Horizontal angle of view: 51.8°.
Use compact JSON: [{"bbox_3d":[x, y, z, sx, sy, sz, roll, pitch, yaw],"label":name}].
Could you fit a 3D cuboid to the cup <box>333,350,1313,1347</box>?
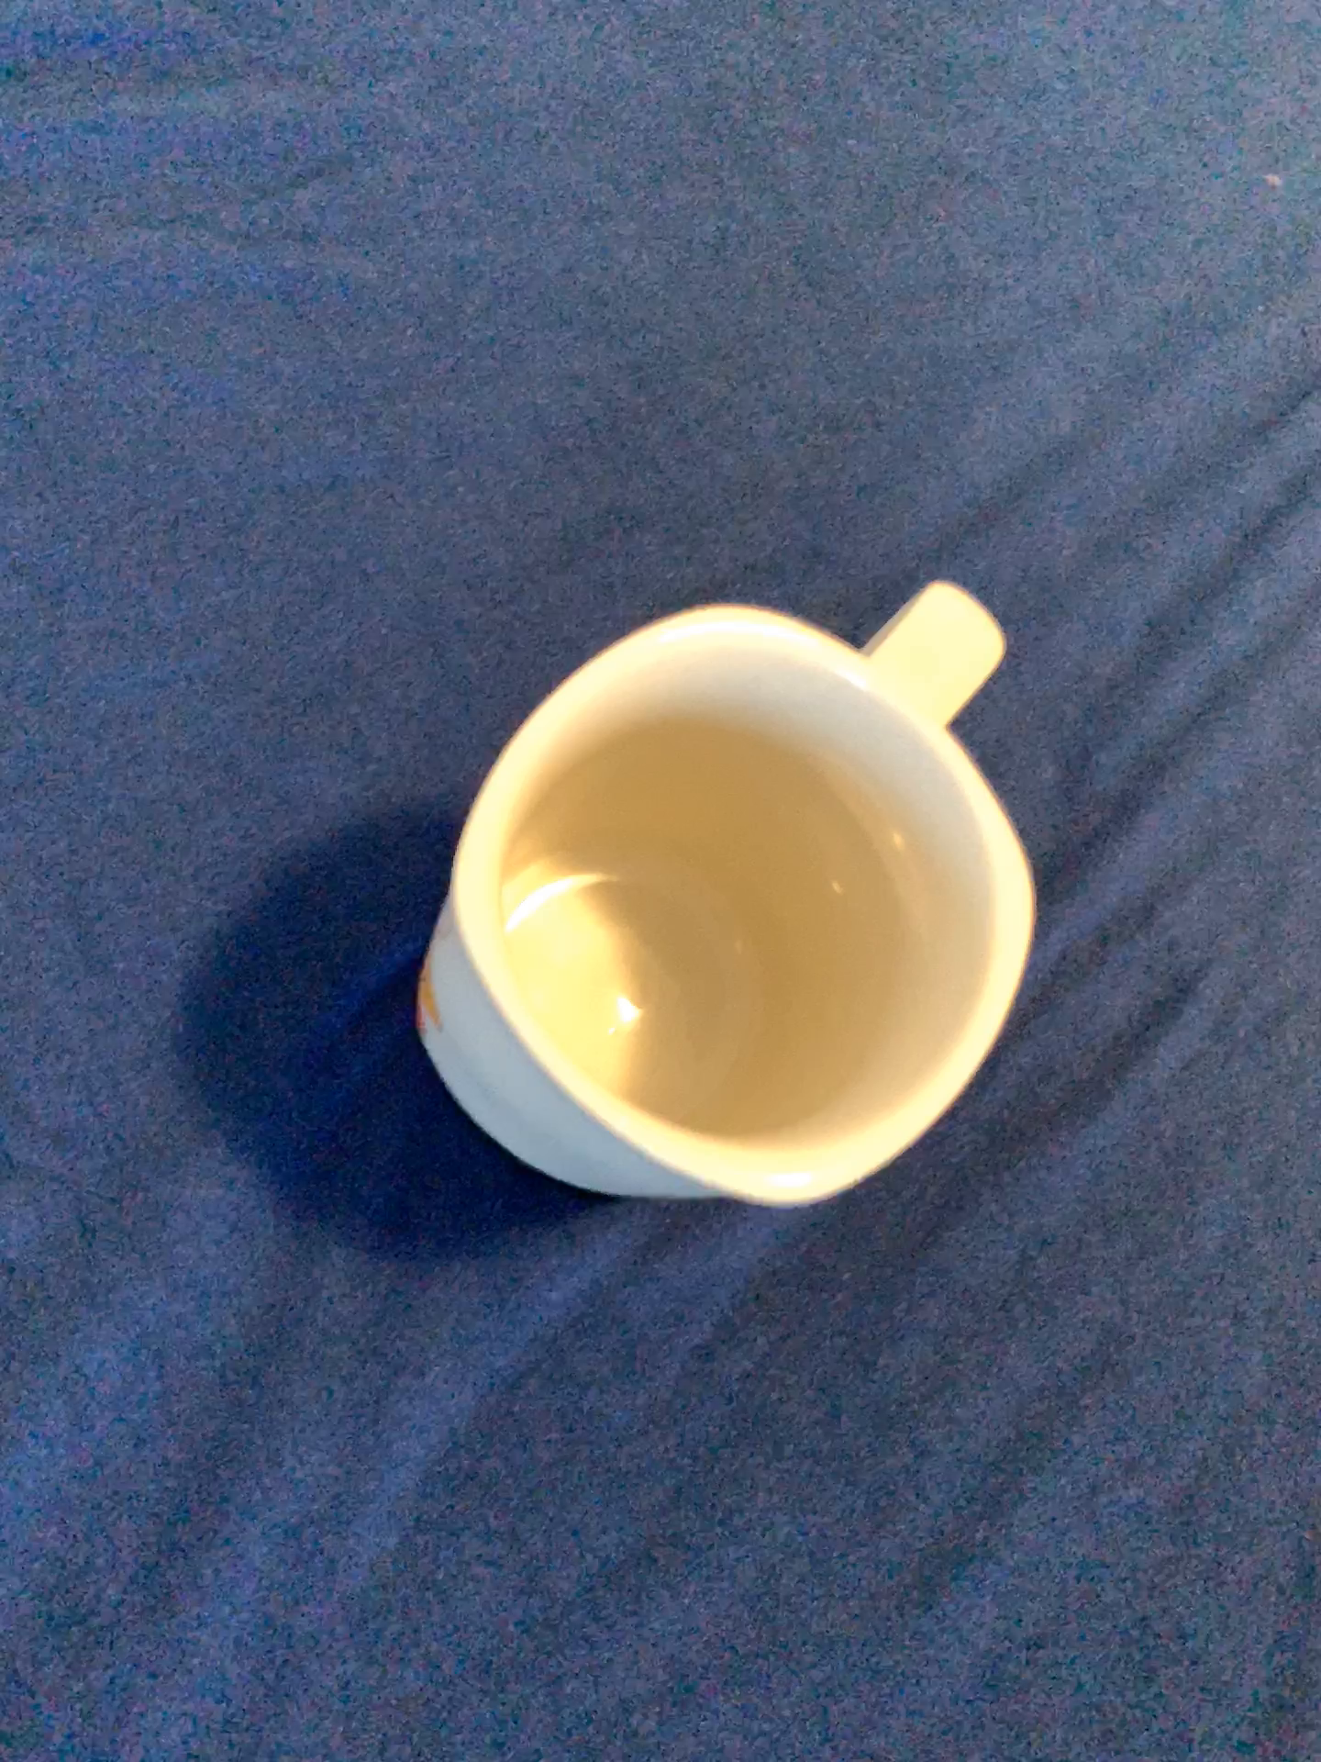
[{"bbox_3d":[0.017,0.001,0.207,0.070,0.090,0.110,43,67,0],"label":"cup"}]
